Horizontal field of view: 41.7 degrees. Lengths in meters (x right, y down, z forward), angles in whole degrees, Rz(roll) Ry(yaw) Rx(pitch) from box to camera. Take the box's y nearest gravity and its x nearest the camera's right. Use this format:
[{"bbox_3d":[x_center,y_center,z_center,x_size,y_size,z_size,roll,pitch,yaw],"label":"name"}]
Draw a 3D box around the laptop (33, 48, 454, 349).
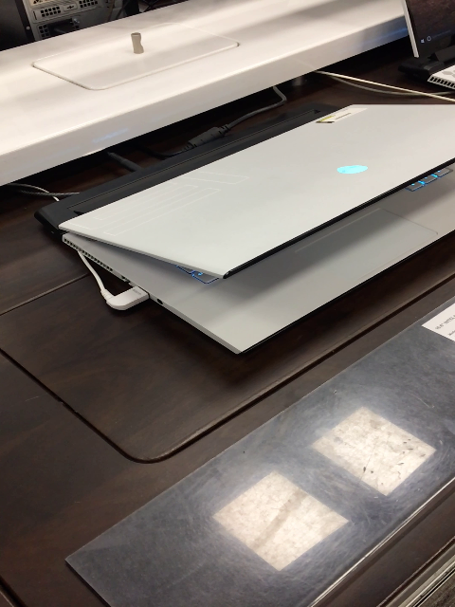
[{"bbox_3d":[0.068,-0.116,0.533,0.349,0.087,0.219,-31,50,-24],"label":"laptop"}]
